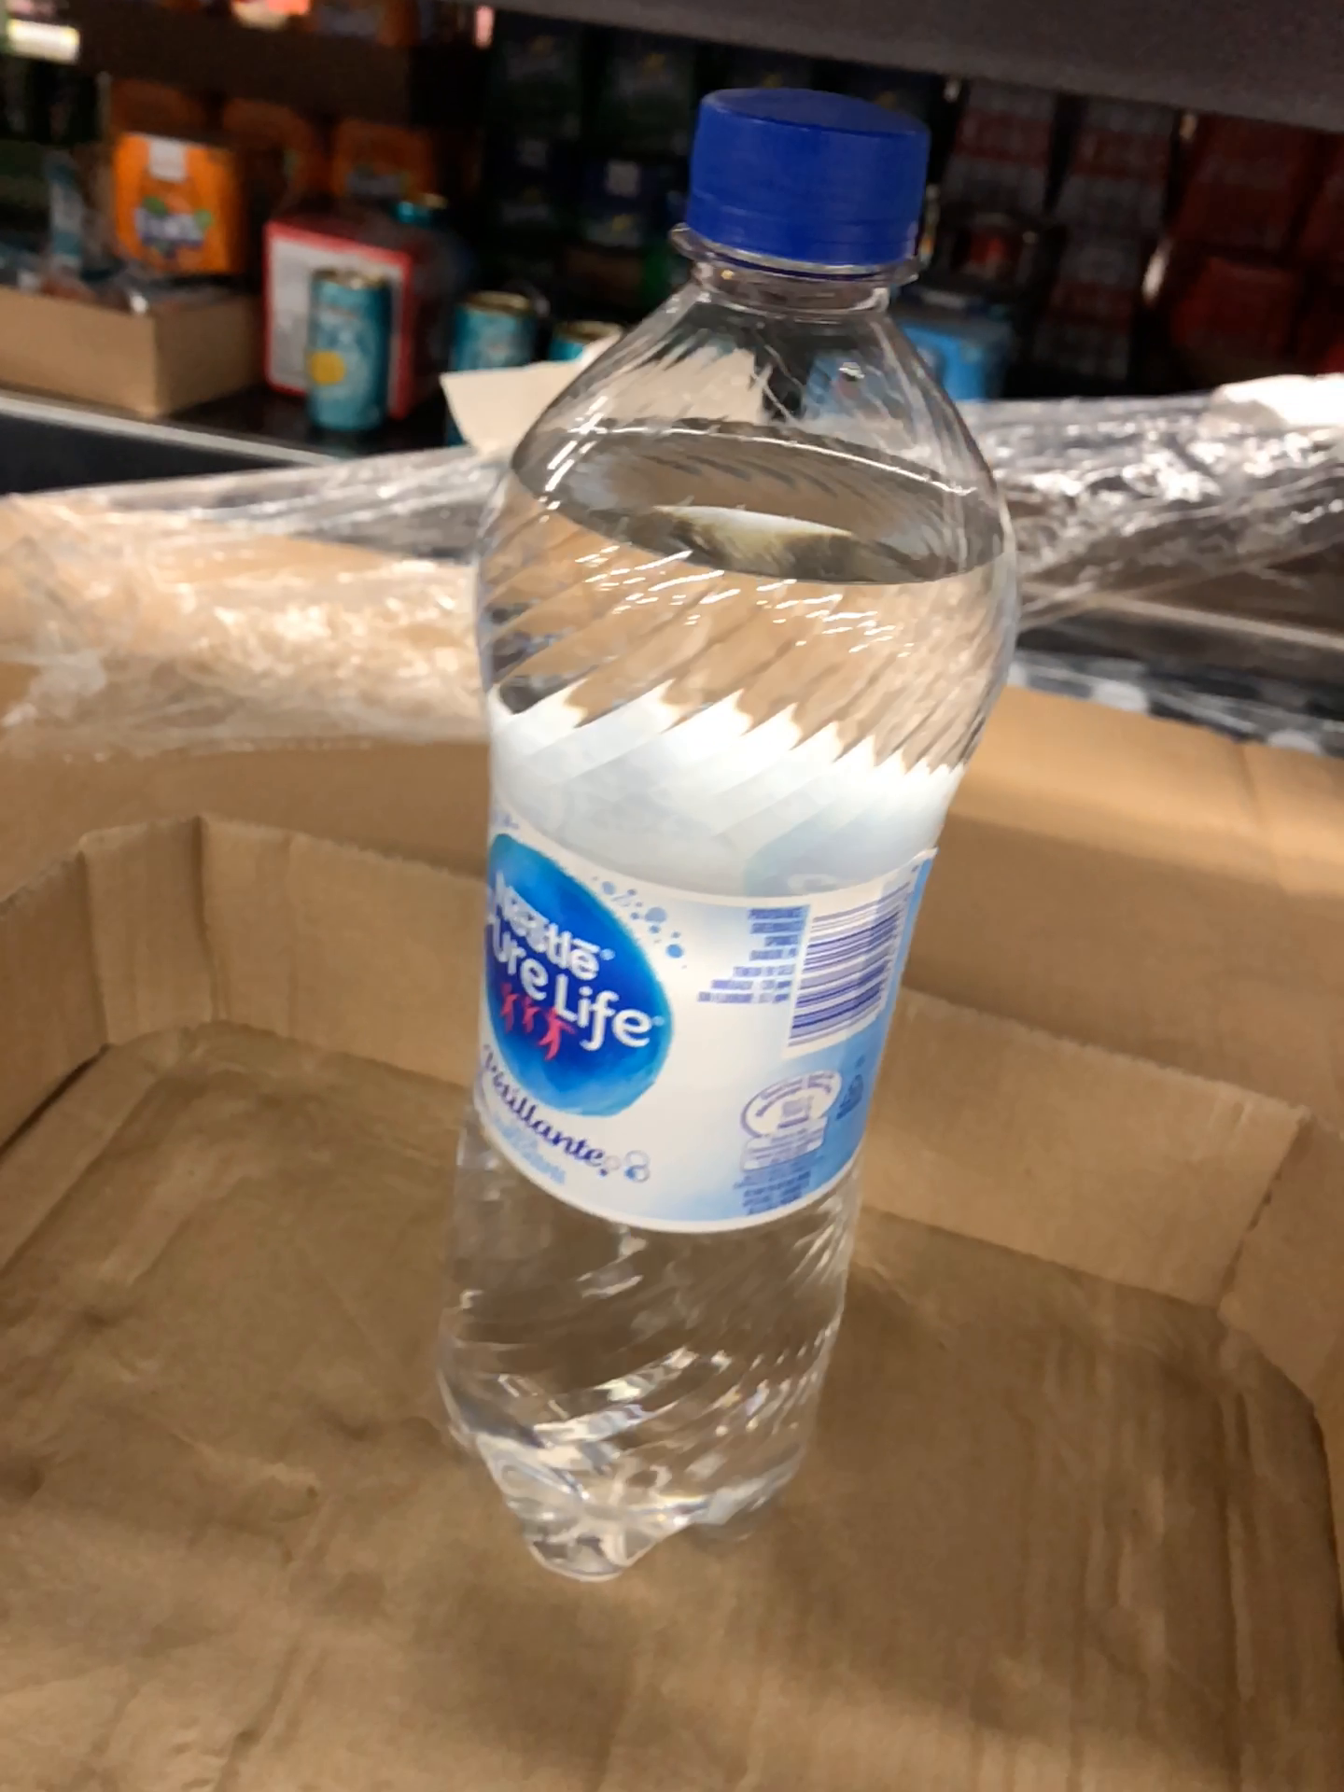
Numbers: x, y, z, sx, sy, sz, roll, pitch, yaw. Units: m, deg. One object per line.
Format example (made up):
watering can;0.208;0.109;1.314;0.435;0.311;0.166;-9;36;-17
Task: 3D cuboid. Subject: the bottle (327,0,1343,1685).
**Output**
bottle;0.007;0.000;0.283;0.100;0.278;0.100;6;31;-4
